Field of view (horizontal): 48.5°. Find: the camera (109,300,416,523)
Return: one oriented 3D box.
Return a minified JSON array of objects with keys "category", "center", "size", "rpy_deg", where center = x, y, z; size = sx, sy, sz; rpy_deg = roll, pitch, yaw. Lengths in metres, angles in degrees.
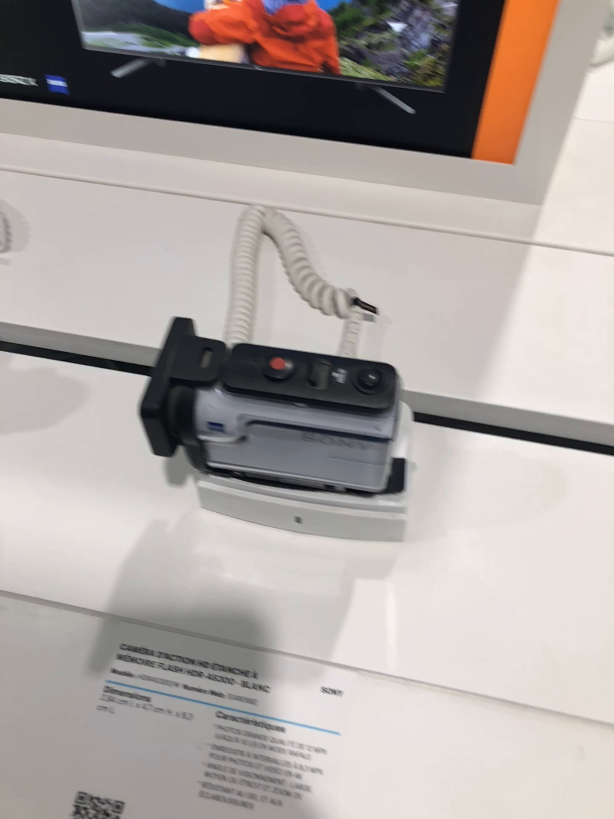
[{"category":"camera","center":[-0.013,0.000,0.242],"size":[0.092,0.044,0.049],"rpy_deg":[9,53,7]}]
